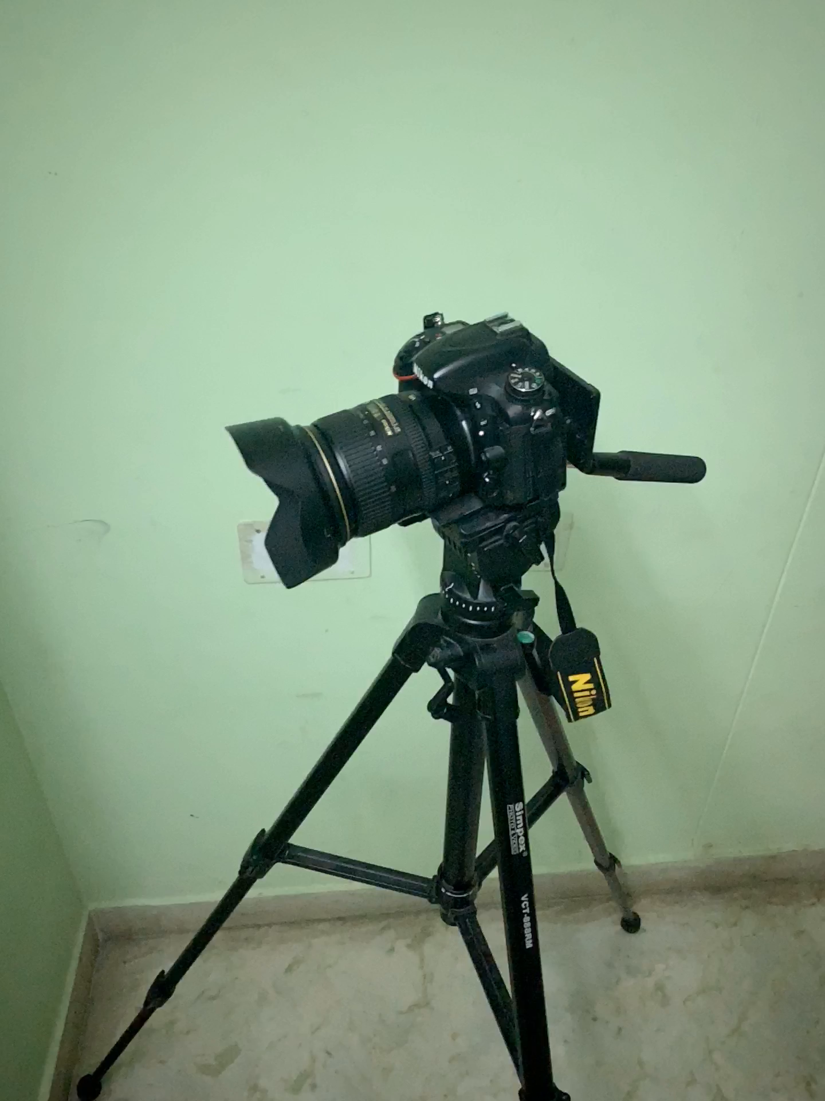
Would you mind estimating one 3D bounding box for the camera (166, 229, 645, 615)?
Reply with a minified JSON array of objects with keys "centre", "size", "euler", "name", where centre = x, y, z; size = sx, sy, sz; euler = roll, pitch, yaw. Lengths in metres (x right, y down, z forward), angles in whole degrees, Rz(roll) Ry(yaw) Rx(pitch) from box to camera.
[{"centre":[0.000,-0.103,0.583],"size":[0.267,0.126,0.161],"euler":[-25,42,-20],"name":"camera"}]
